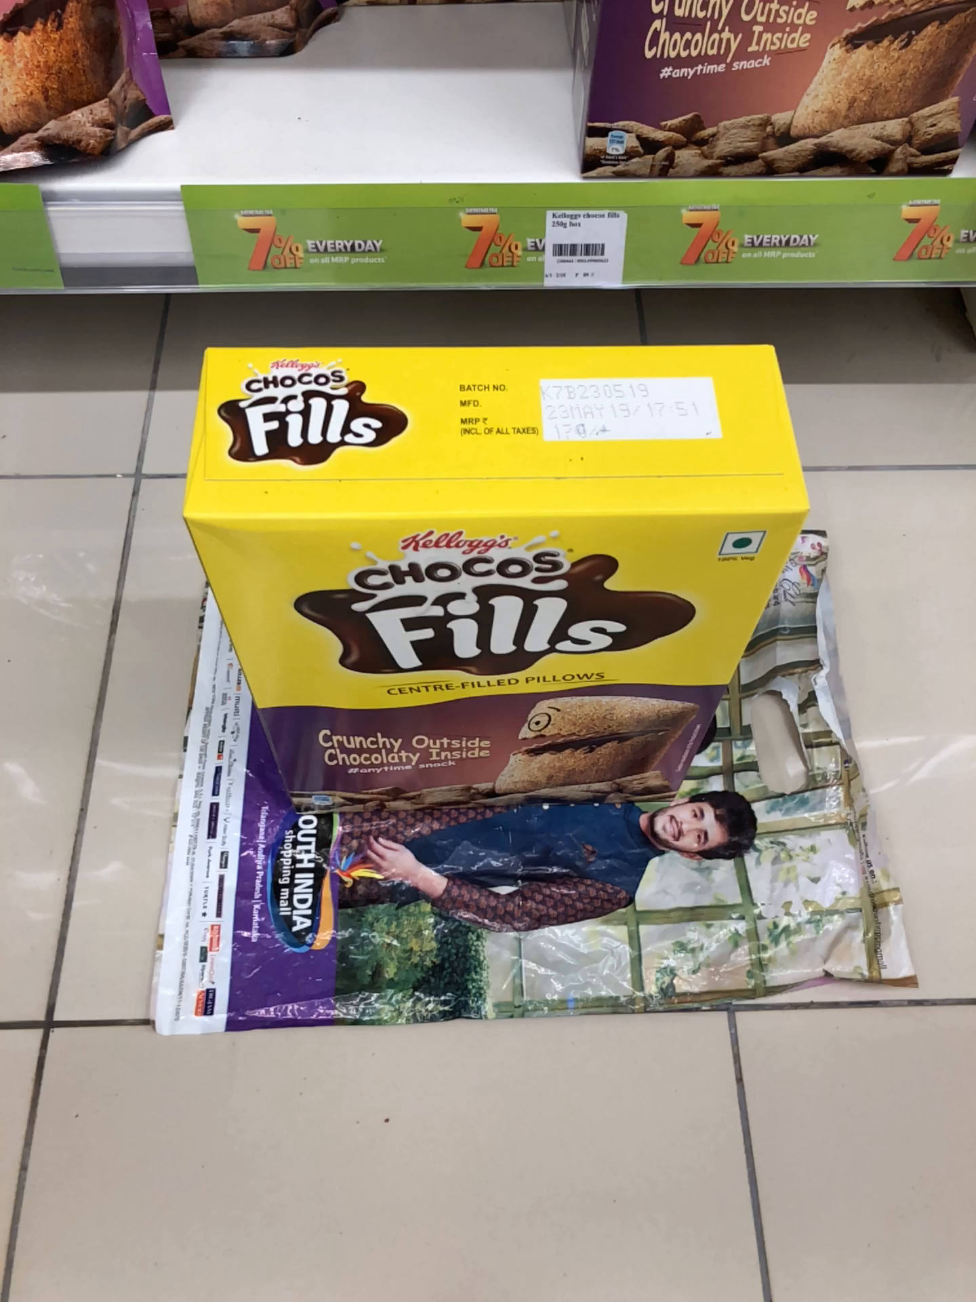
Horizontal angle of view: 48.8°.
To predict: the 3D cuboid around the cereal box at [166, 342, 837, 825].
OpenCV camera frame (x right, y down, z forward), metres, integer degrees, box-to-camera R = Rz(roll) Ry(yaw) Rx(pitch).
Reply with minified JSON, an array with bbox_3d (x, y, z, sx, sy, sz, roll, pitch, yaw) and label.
[{"bbox_3d":[0.002,-0.009,0.422,0.190,0.229,0.070,-2,61,-2],"label":"cereal box"}]
